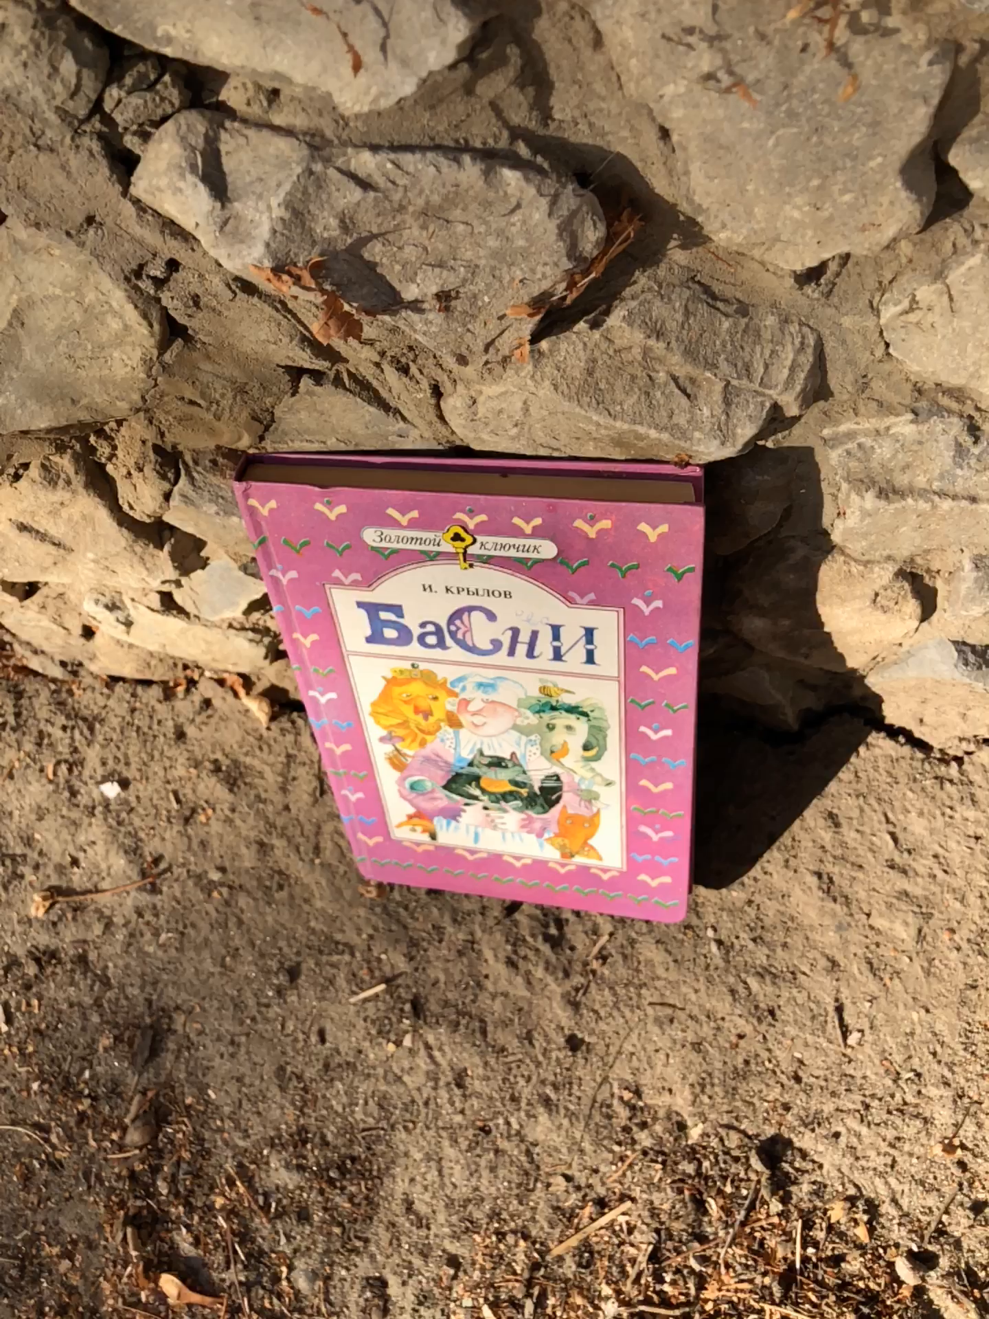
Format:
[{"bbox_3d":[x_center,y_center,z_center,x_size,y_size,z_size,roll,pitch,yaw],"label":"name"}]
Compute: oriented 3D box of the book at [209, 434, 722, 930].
[{"bbox_3d":[-0.001,0.018,0.375,0.141,0.202,0.025,4,45,11],"label":"book"}]
